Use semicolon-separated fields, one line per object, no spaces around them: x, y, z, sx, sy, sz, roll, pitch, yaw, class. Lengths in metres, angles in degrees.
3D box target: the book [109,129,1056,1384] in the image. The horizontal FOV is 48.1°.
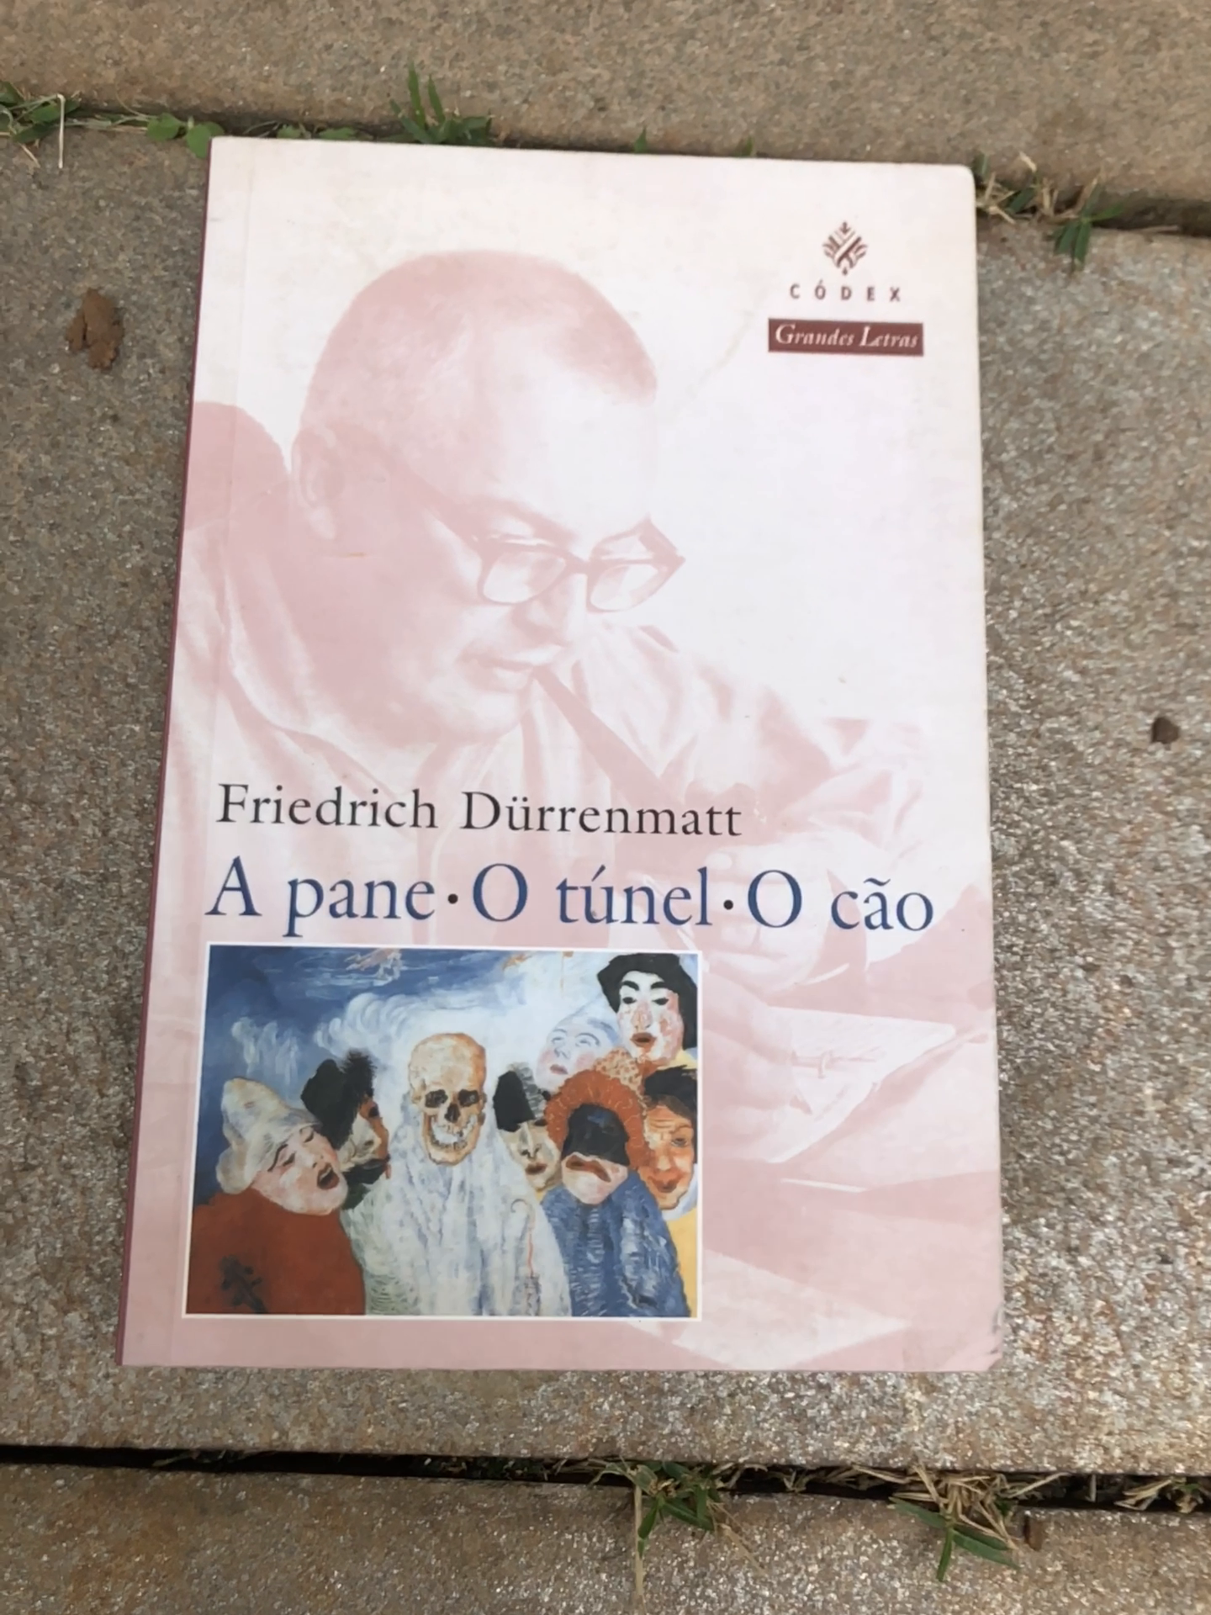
0.000;-0.013;0.223;0.140;0.015;0.199;2;81;-3;book
